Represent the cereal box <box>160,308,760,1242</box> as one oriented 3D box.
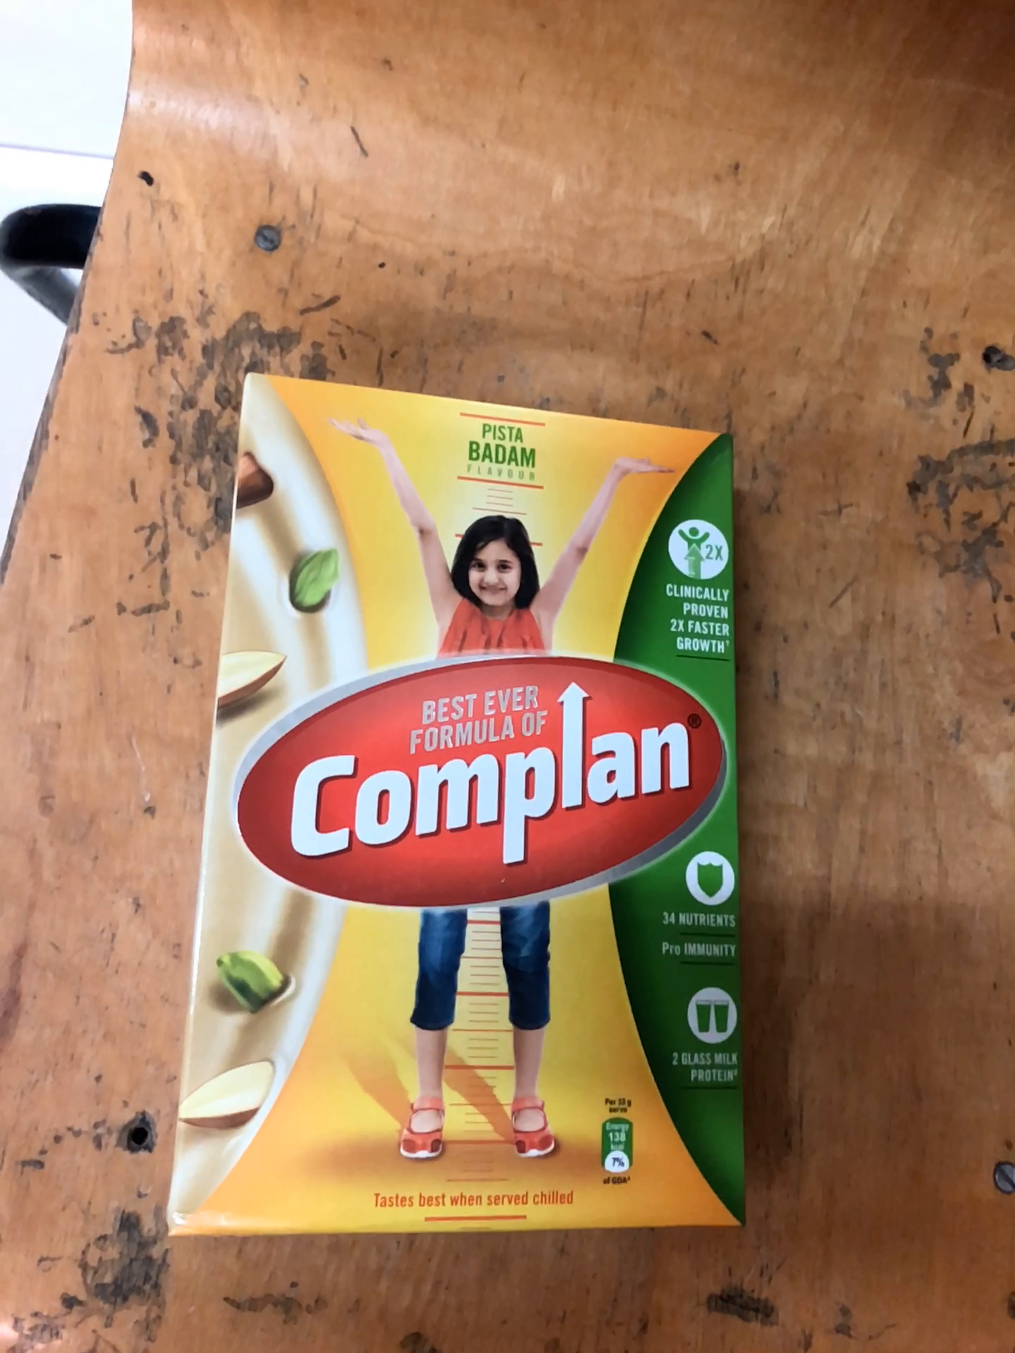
[{"bbox_3d":[-0.010,0.023,0.305,0.140,0.050,0.220,4,77,-14],"label":"cereal box"}]
